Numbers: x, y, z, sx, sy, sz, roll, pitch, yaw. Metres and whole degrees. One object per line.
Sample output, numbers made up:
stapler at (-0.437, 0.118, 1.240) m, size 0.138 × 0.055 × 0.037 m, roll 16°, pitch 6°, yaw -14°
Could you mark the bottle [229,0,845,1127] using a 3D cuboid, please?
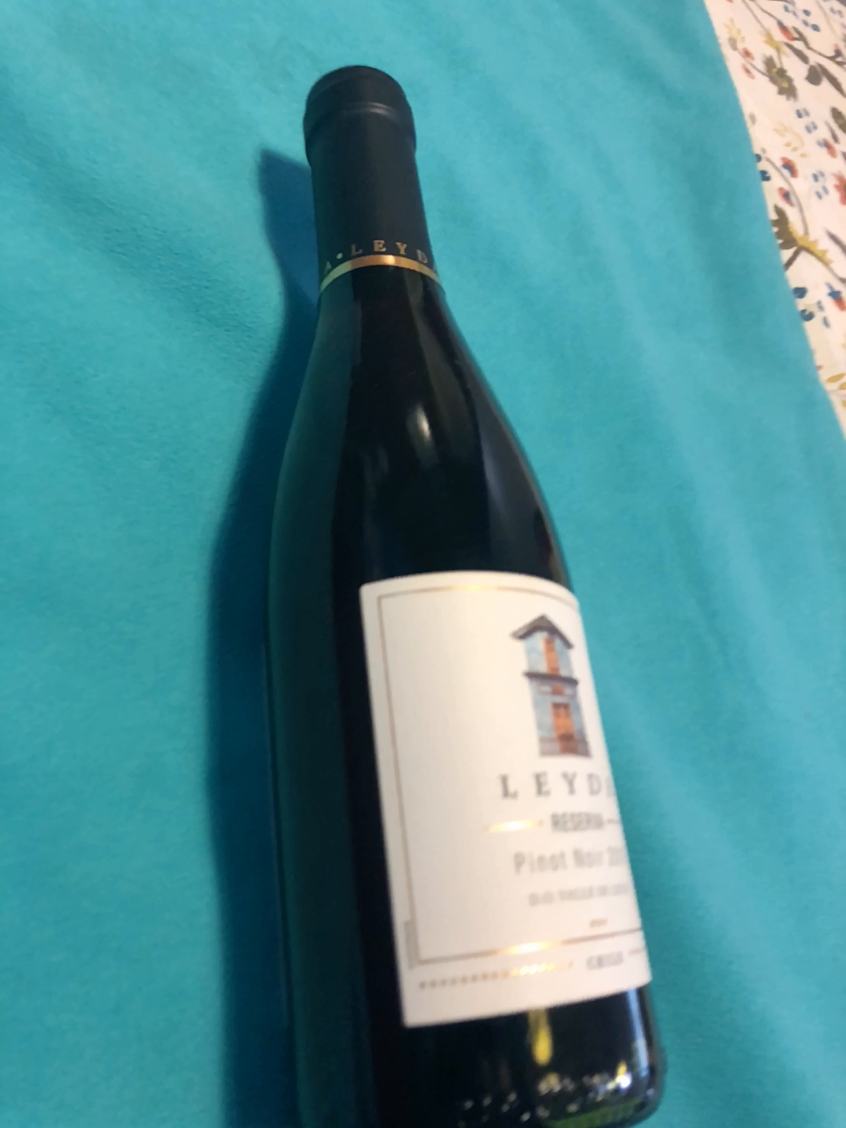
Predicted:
bottle at (0.014, -0.034, 0.195) m, size 0.070 × 0.080 × 0.260 m, roll 13°, pitch 63°, yaw -32°
